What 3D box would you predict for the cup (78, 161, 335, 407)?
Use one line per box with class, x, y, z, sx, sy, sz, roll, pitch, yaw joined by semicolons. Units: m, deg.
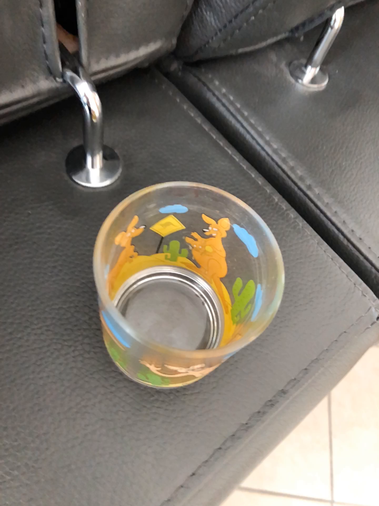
cup;-0.001;0.017;0.193;0.080;0.080;0.070;-13;66;-18
